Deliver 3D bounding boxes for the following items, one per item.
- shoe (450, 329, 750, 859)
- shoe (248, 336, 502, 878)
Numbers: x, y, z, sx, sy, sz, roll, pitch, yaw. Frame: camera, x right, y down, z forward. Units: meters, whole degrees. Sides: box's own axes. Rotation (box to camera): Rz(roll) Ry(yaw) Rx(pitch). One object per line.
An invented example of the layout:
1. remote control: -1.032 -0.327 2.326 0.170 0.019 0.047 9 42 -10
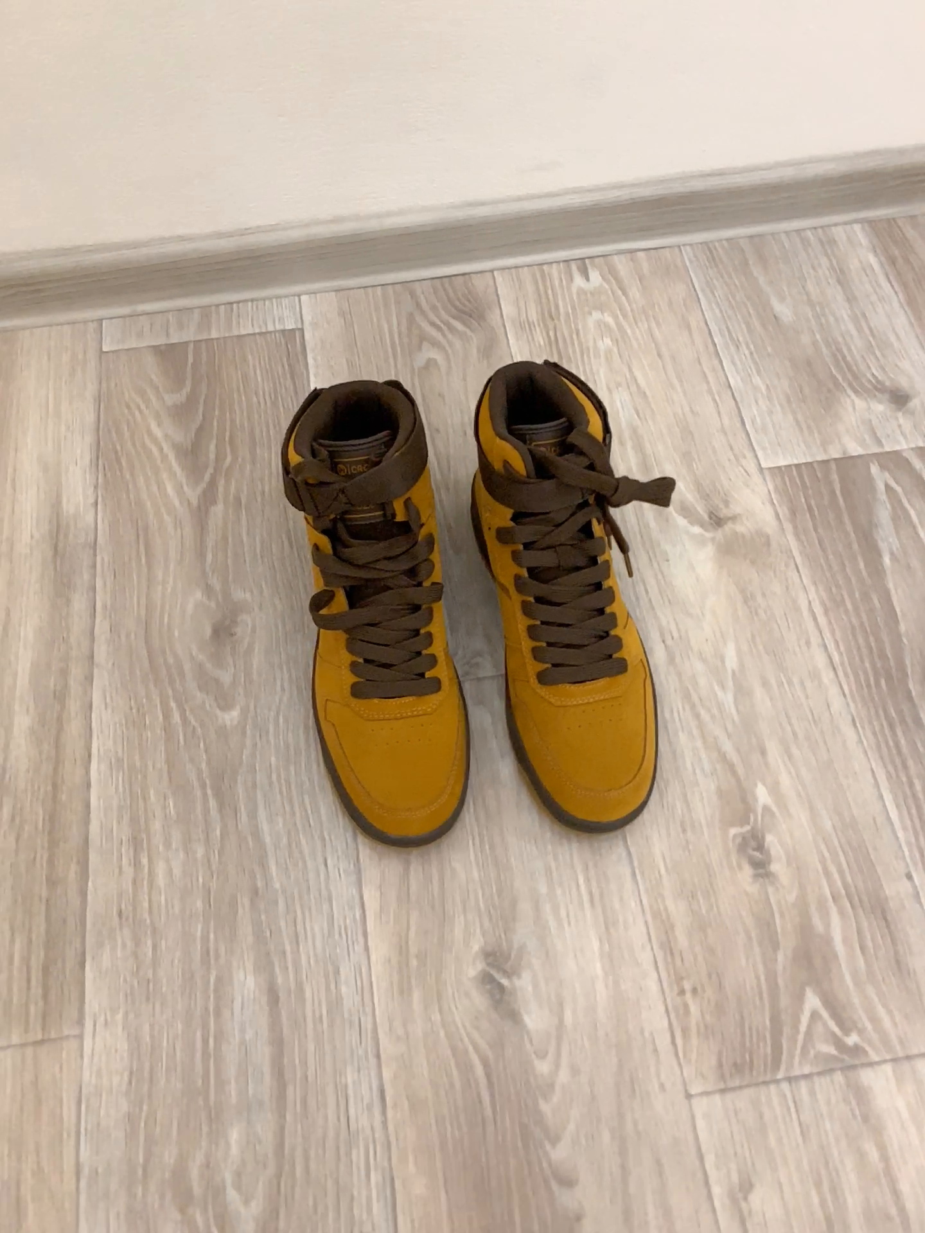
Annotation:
1. shoe: 0.066 -0.015 0.579 0.101 0.140 0.281 -9 62 -4
2. shoe: -0.054 -0.007 0.566 0.101 0.140 0.281 -9 62 -4
